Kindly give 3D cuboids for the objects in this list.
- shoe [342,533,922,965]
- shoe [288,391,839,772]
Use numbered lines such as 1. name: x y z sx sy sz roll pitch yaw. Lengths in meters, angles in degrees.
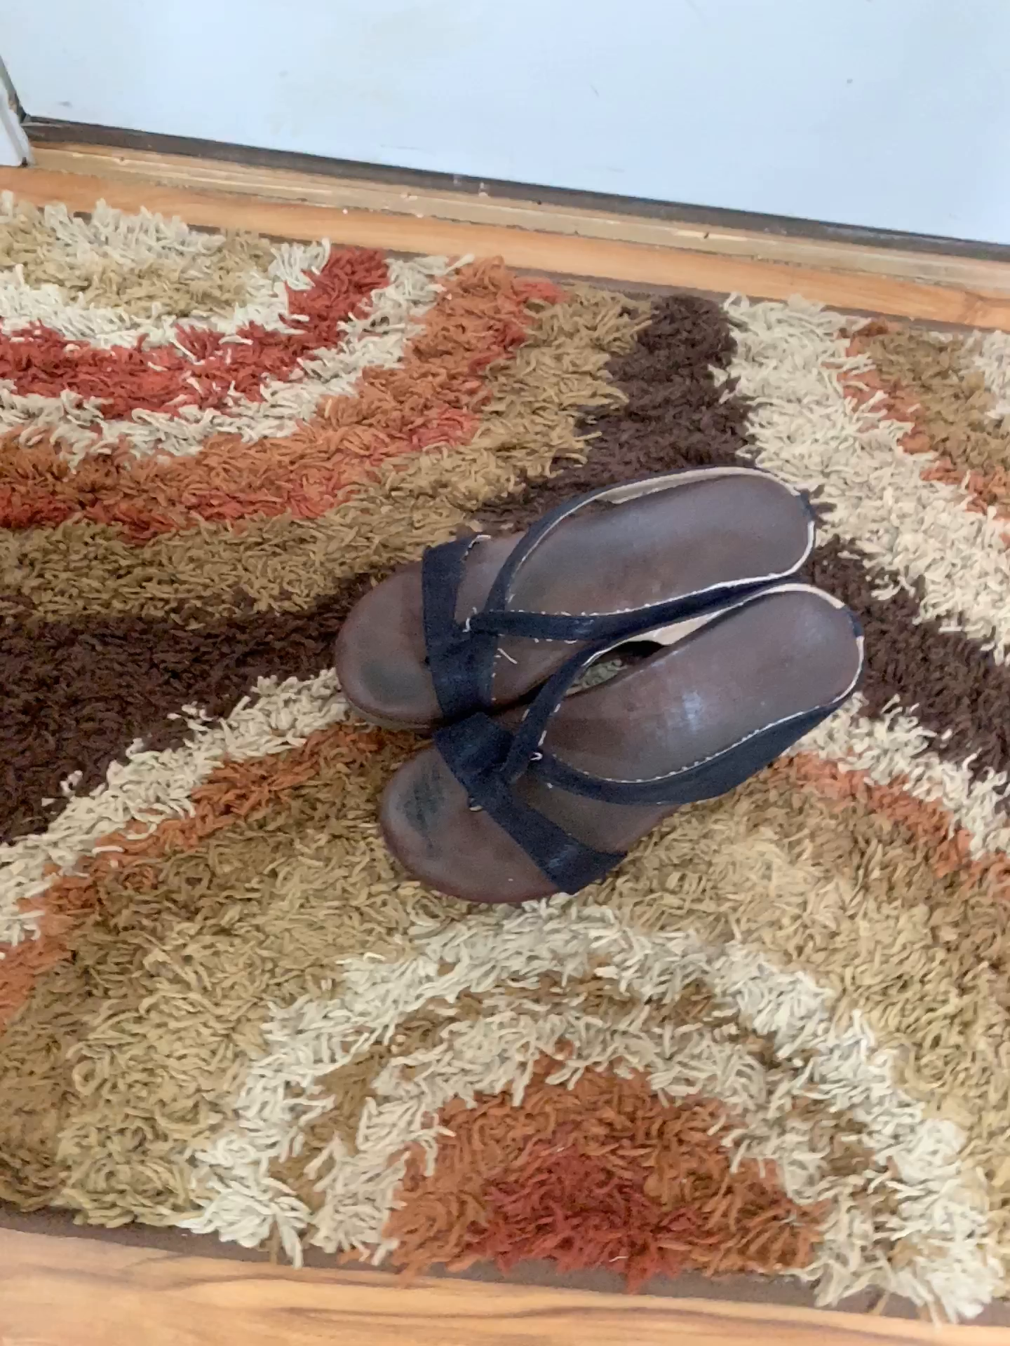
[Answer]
1. shoe: 0.053 0.032 0.452 0.223 0.062 0.090 -24 74 -12
2. shoe: 0.026 -0.043 0.469 0.223 0.052 0.084 -23 74 -12
